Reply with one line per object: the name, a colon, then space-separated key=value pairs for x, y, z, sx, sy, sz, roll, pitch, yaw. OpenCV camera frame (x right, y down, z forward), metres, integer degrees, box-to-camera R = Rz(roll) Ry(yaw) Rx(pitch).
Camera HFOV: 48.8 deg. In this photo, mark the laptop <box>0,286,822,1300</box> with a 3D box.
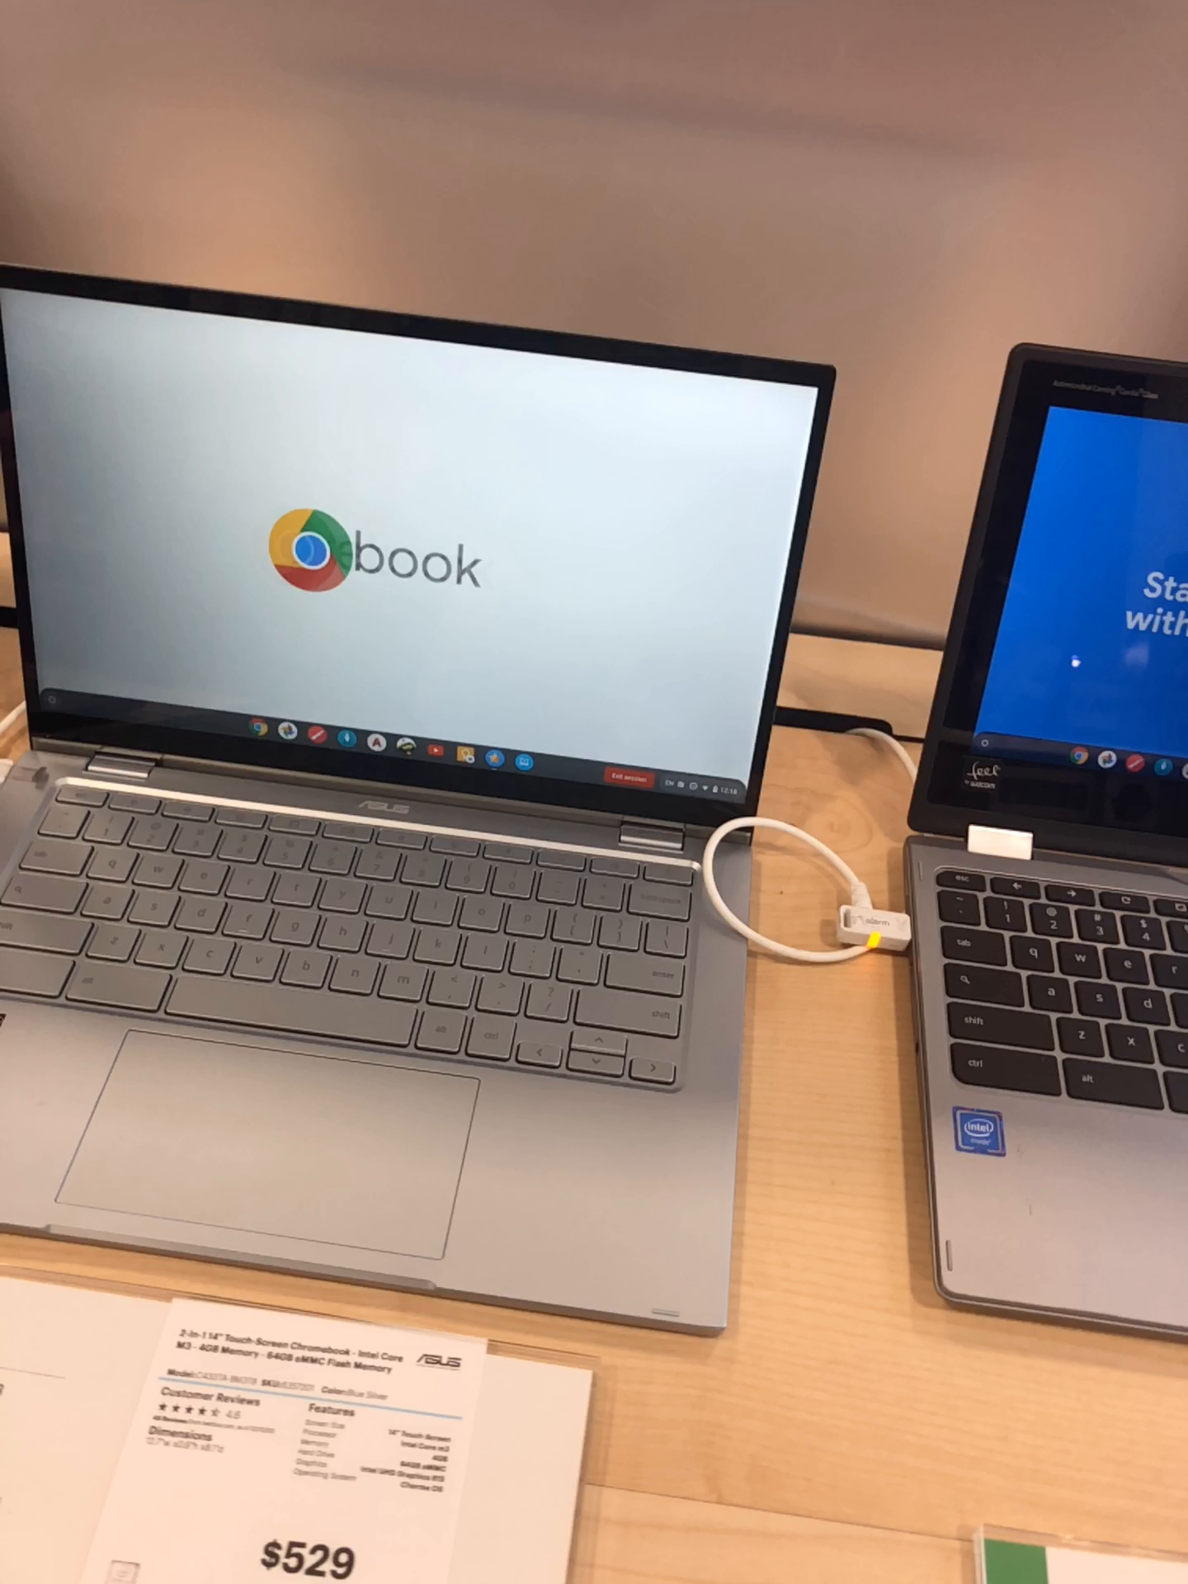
laptop: x=-0.093 y=-0.014 z=0.453 sx=0.309 sy=0.174 sz=0.283 roll=7 pitch=46 yaw=2
